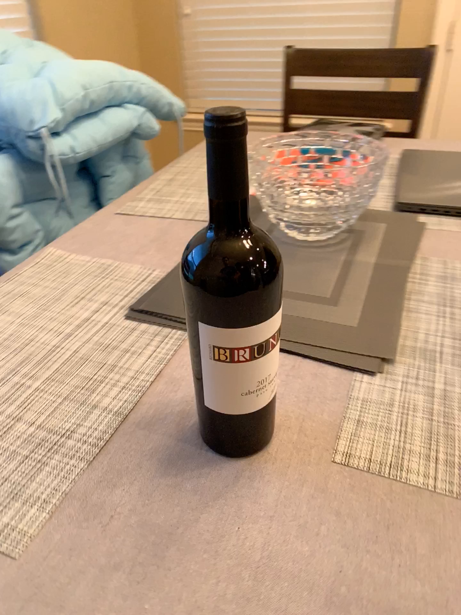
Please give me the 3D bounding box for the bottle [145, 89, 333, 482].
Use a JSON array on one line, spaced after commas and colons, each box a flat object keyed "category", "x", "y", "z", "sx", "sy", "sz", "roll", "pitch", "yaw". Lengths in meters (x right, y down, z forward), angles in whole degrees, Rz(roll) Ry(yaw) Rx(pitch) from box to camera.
[{"category": "bottle", "x": 0.009, "y": -0.006, "z": 0.387, "sx": 0.083, "sy": 0.298, "sz": 0.090, "roll": -2, "pitch": 33, "yaw": 1}]
